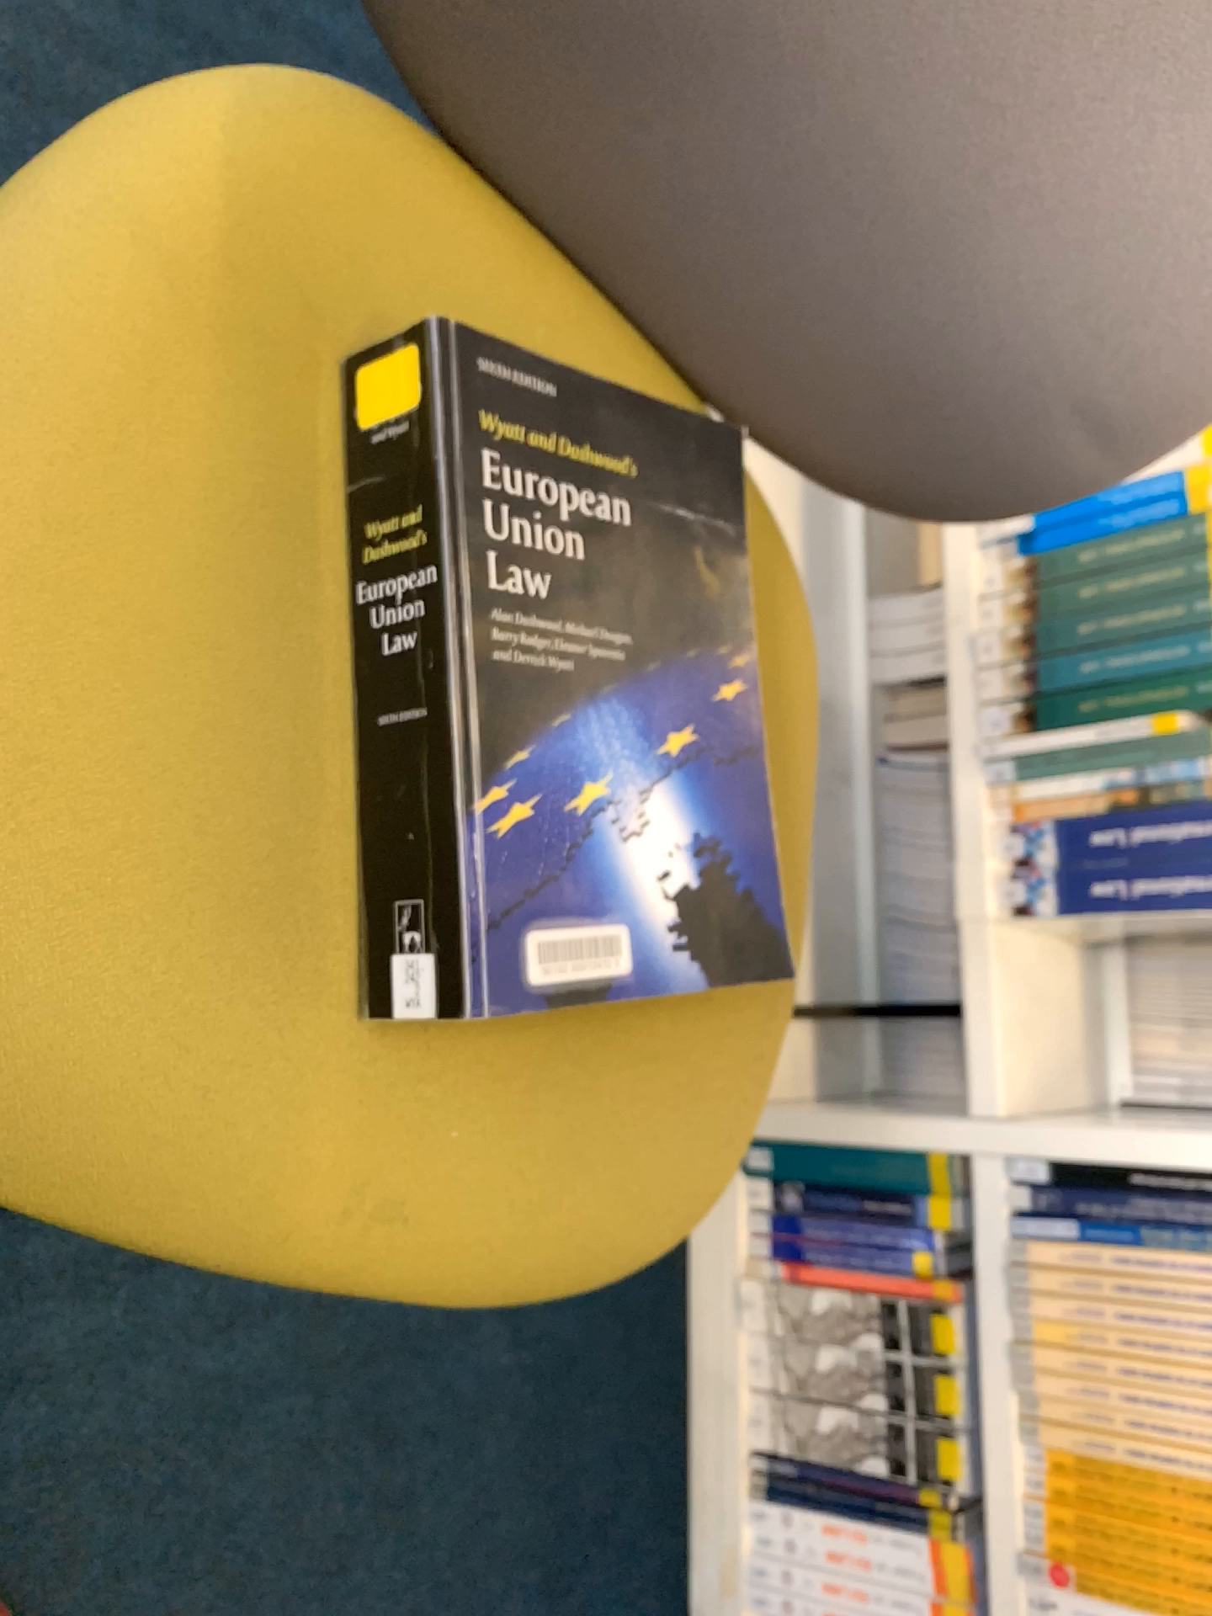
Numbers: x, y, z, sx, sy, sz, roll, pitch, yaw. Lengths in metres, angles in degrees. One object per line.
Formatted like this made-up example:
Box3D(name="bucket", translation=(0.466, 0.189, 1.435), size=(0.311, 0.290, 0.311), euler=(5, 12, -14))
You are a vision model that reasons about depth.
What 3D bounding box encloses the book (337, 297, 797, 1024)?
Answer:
Box3D(name="book", translation=(-0.010, -0.049, 0.512), size=(0.182, 0.060, 0.250), euler=(2, 82, -47))
